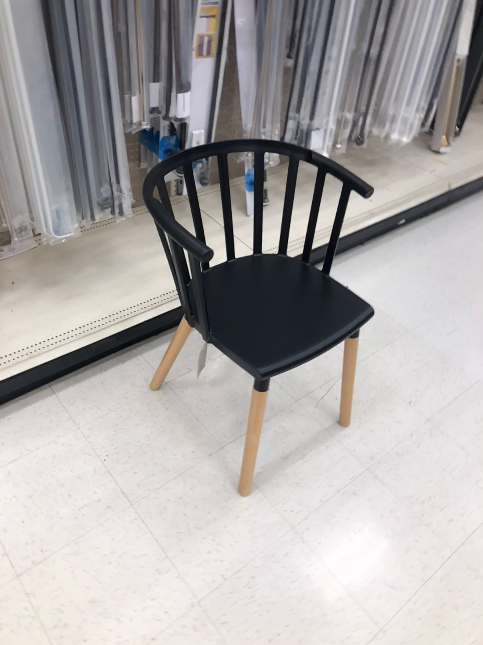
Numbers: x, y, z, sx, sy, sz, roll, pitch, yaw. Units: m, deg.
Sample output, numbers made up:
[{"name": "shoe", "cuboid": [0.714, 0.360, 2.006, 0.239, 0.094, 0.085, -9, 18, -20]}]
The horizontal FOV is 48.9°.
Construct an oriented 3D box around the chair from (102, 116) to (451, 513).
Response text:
[{"name": "chair", "cuboid": [0.038, -0.042, 1.415, 0.536, 0.730, 0.568, -25, 51, -31]}]
